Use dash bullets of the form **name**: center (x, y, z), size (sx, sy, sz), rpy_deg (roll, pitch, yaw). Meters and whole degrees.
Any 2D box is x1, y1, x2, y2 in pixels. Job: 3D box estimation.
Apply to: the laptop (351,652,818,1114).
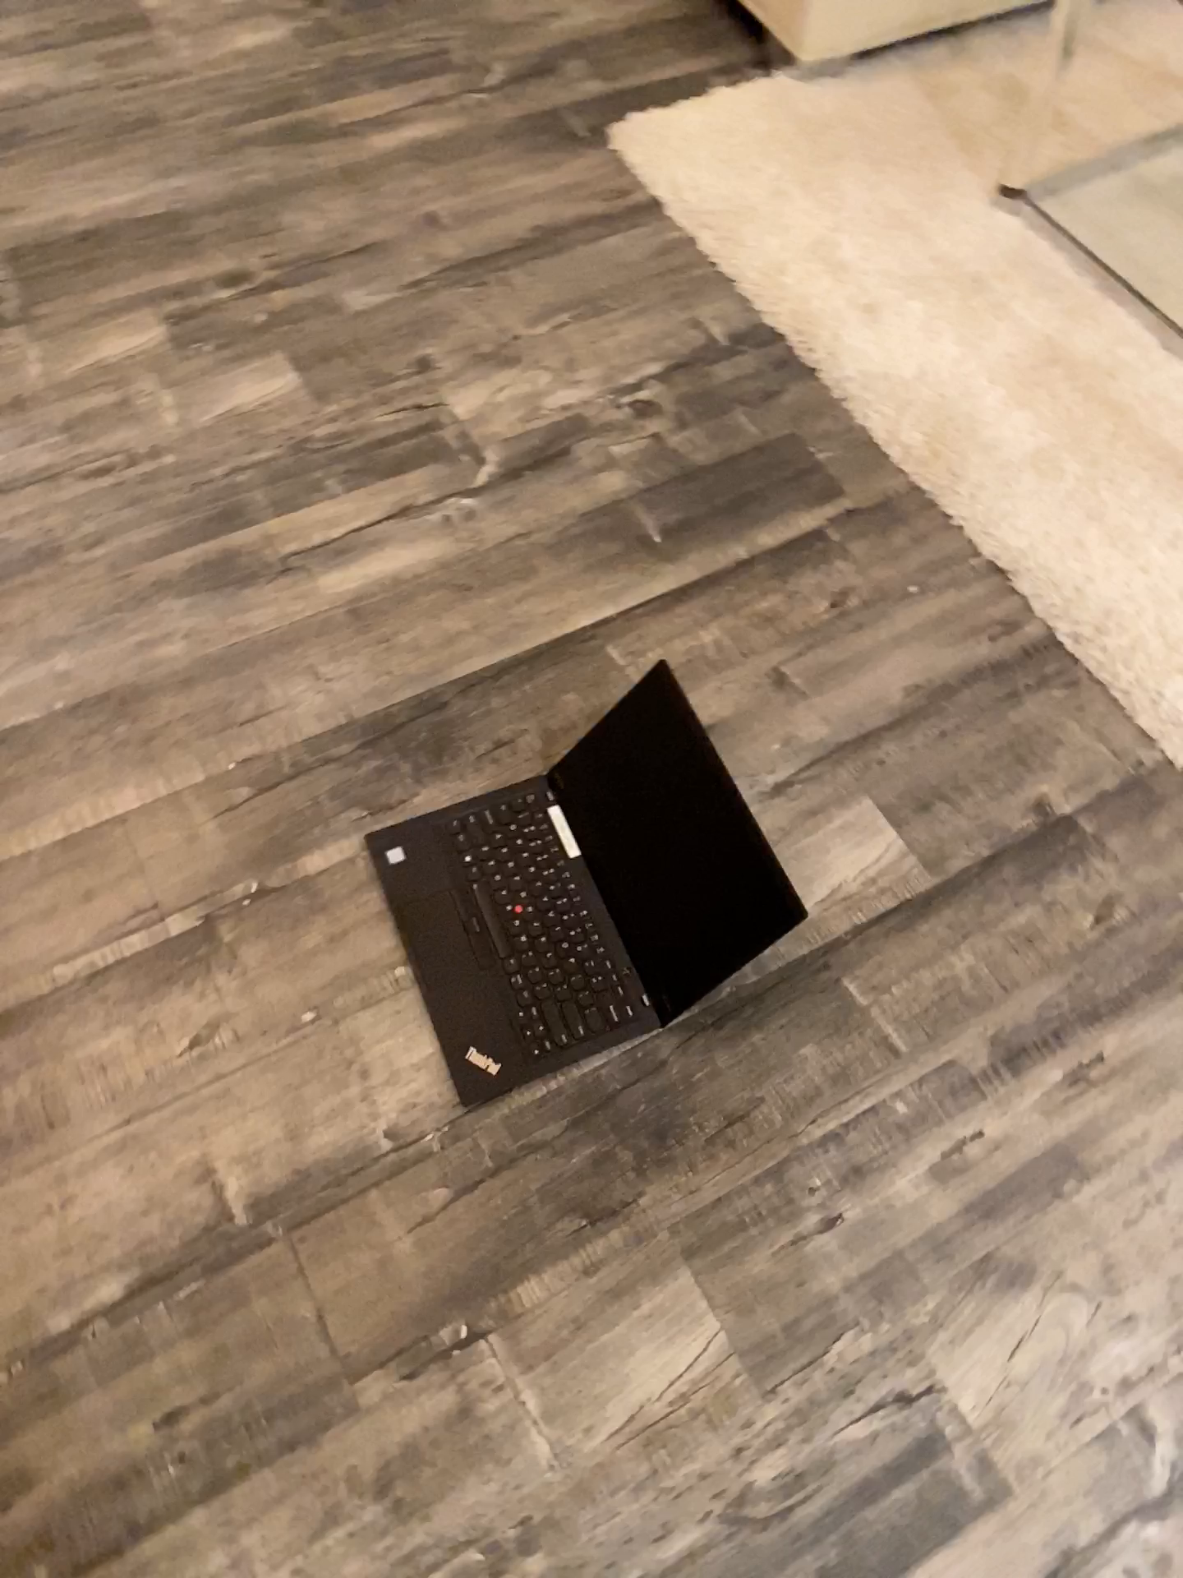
- **laptop**: center (-0.018, 0.087, 1.221), size (0.356, 0.149, 0.320), rpy_deg (-21, 63, -12)
